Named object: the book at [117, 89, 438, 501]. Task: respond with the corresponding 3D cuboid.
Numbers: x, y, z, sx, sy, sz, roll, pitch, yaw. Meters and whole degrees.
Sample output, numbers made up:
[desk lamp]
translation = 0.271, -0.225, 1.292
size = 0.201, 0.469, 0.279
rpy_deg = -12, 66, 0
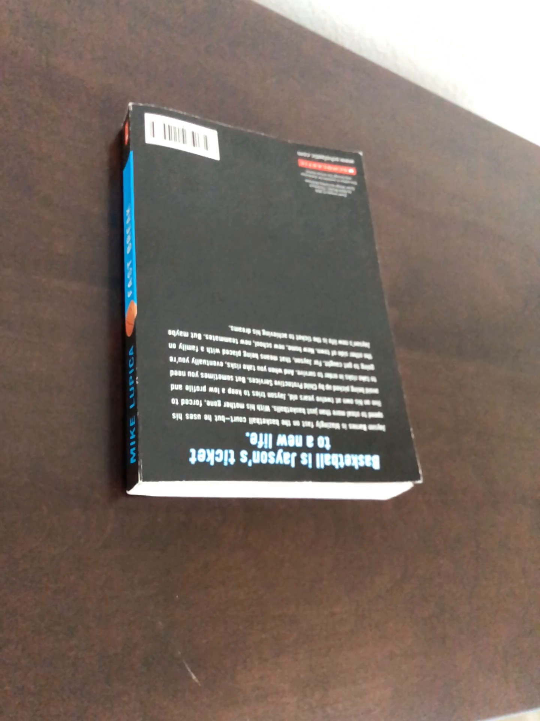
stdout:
[book]
translation = -0.003, -0.033, 0.308
size = 0.141, 0.036, 0.198
rpy_deg = 6, 62, -26
